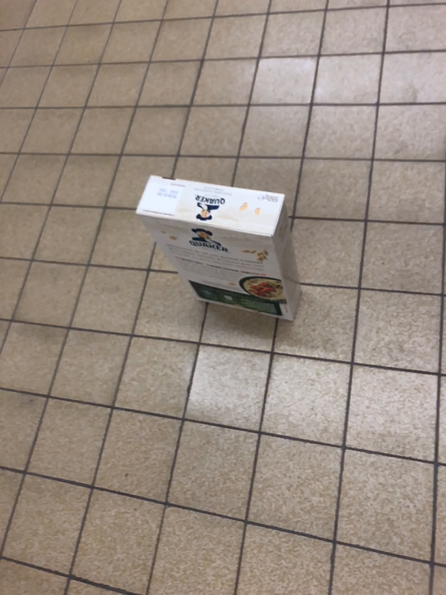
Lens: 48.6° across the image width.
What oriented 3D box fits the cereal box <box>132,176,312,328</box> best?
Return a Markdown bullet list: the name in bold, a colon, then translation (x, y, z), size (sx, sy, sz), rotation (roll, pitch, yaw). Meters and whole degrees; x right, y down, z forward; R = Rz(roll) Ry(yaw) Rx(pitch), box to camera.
- **cereal box**: translation (0.015, -0.042, 0.569), size (0.150, 0.229, 0.050), rotation (13, 72, 18)
